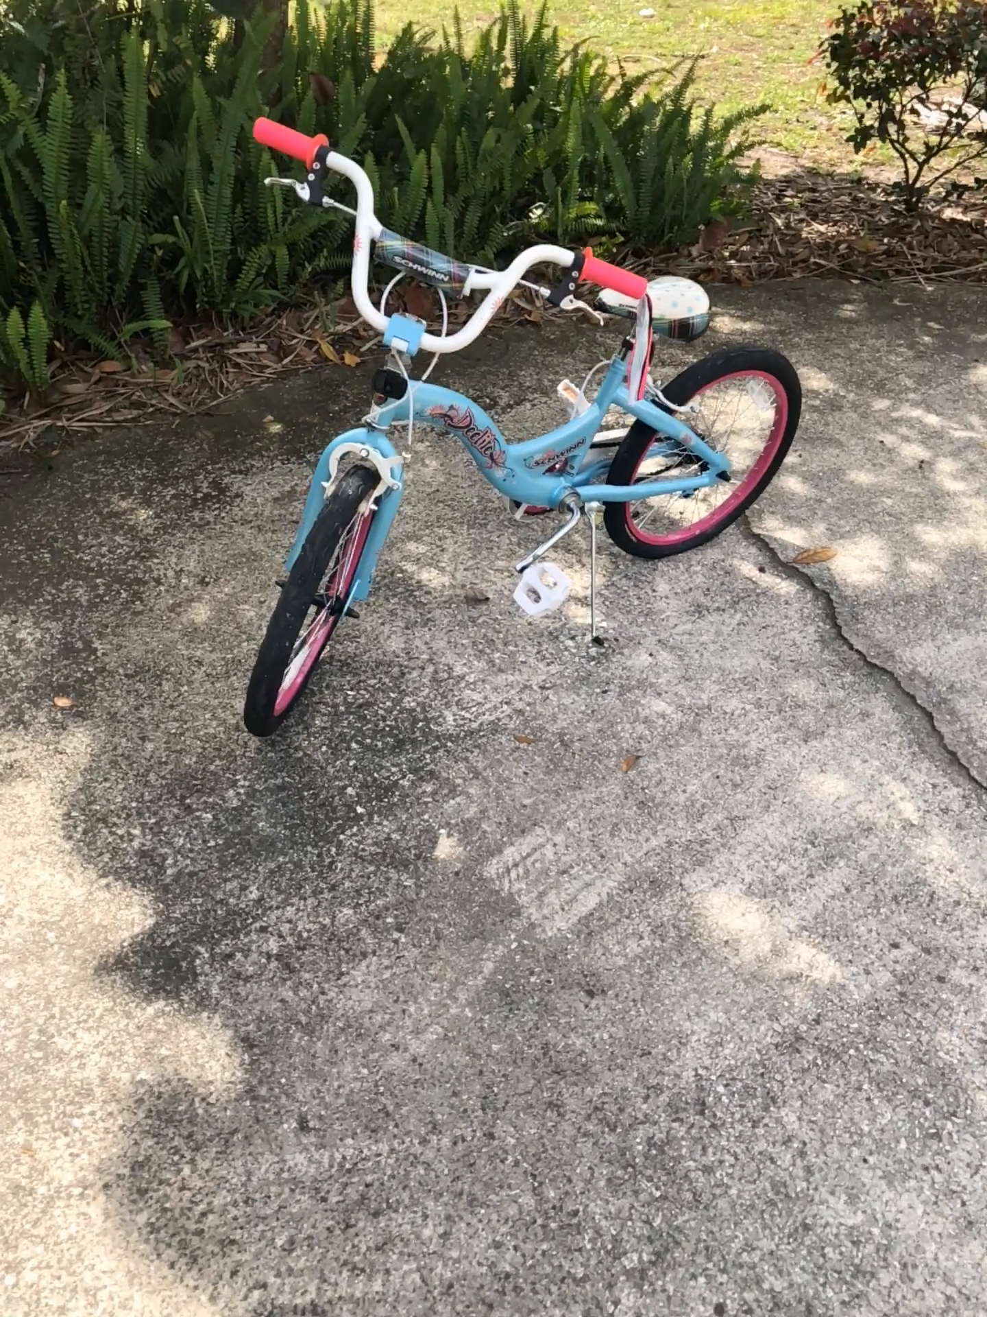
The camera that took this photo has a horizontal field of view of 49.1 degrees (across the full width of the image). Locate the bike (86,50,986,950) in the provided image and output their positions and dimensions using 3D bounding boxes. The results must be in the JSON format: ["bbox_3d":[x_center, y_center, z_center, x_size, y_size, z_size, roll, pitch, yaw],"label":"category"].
[{"bbox_3d":[0.163,-0.392,1.812,1.312,0.923,0.702,-27,45,-32],"label":"bike"}]
